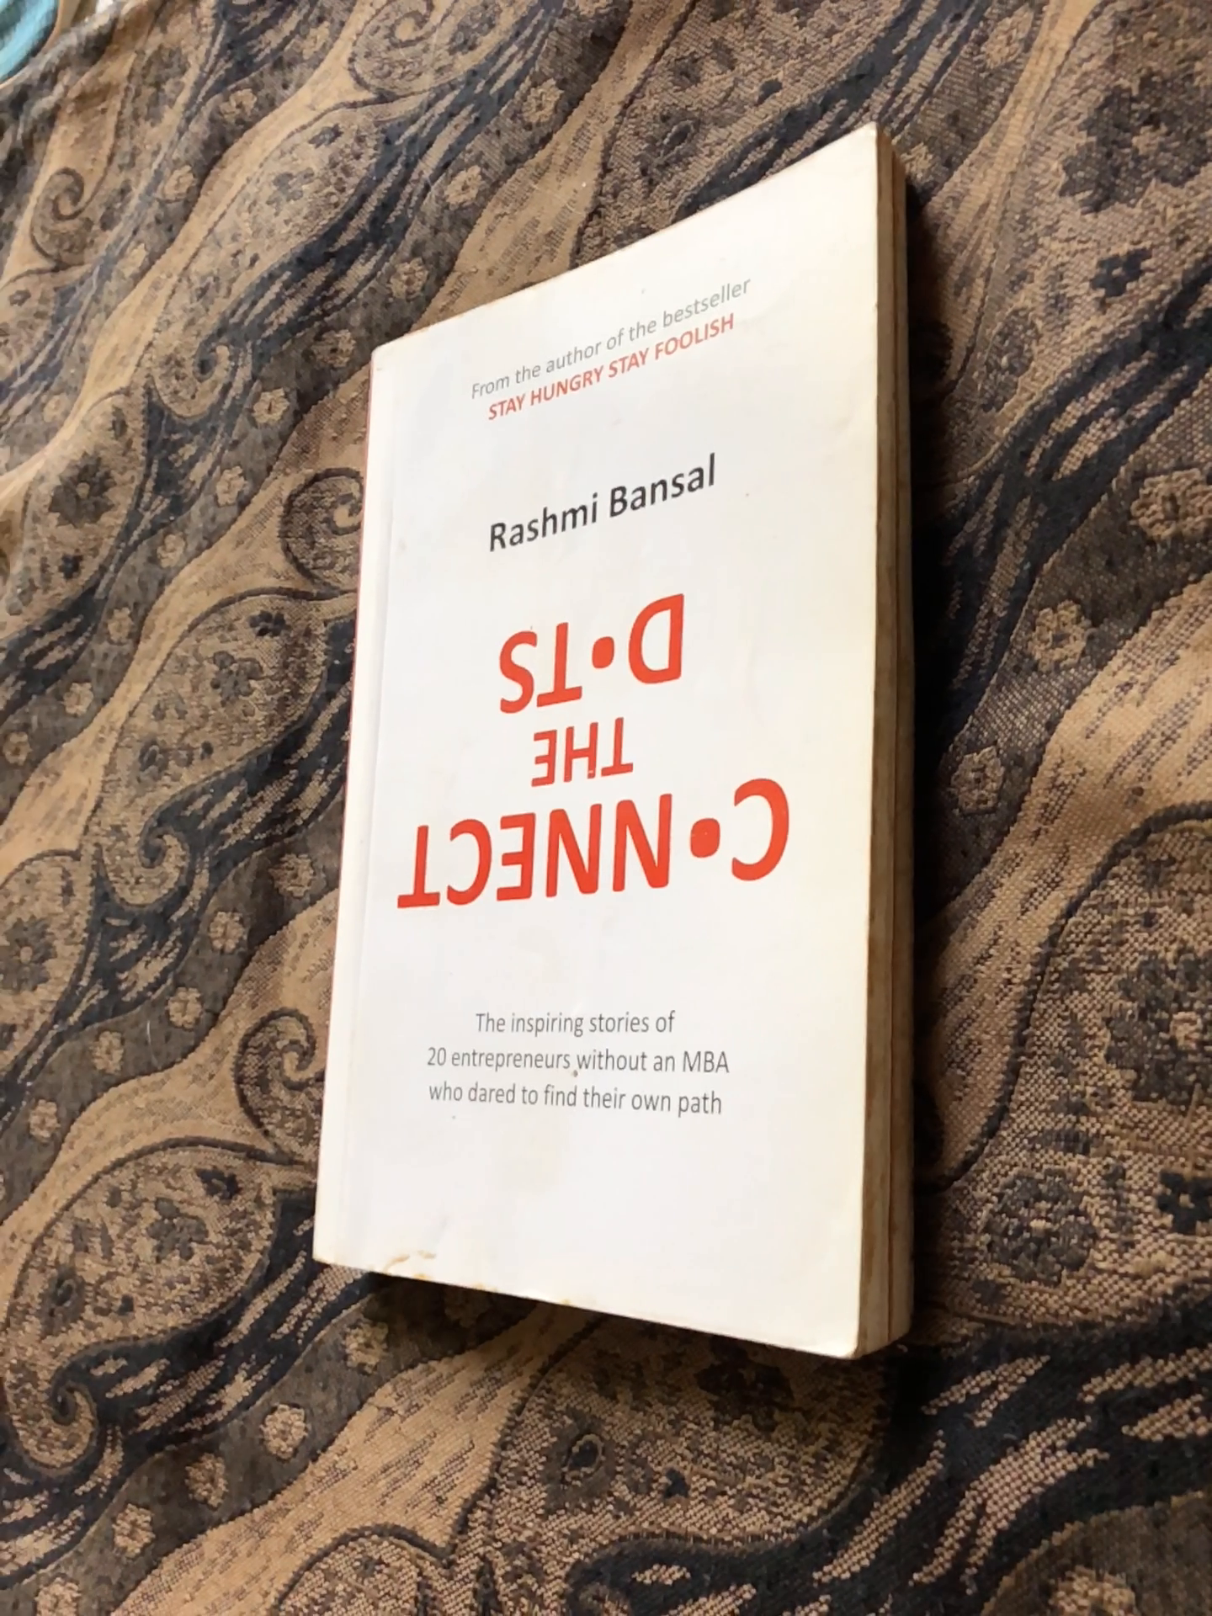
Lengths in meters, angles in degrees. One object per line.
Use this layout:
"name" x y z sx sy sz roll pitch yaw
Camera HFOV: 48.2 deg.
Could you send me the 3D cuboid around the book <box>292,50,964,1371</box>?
"book" 0.002 -0.016 0.274 0.131 0.040 0.220 -9 73 41
